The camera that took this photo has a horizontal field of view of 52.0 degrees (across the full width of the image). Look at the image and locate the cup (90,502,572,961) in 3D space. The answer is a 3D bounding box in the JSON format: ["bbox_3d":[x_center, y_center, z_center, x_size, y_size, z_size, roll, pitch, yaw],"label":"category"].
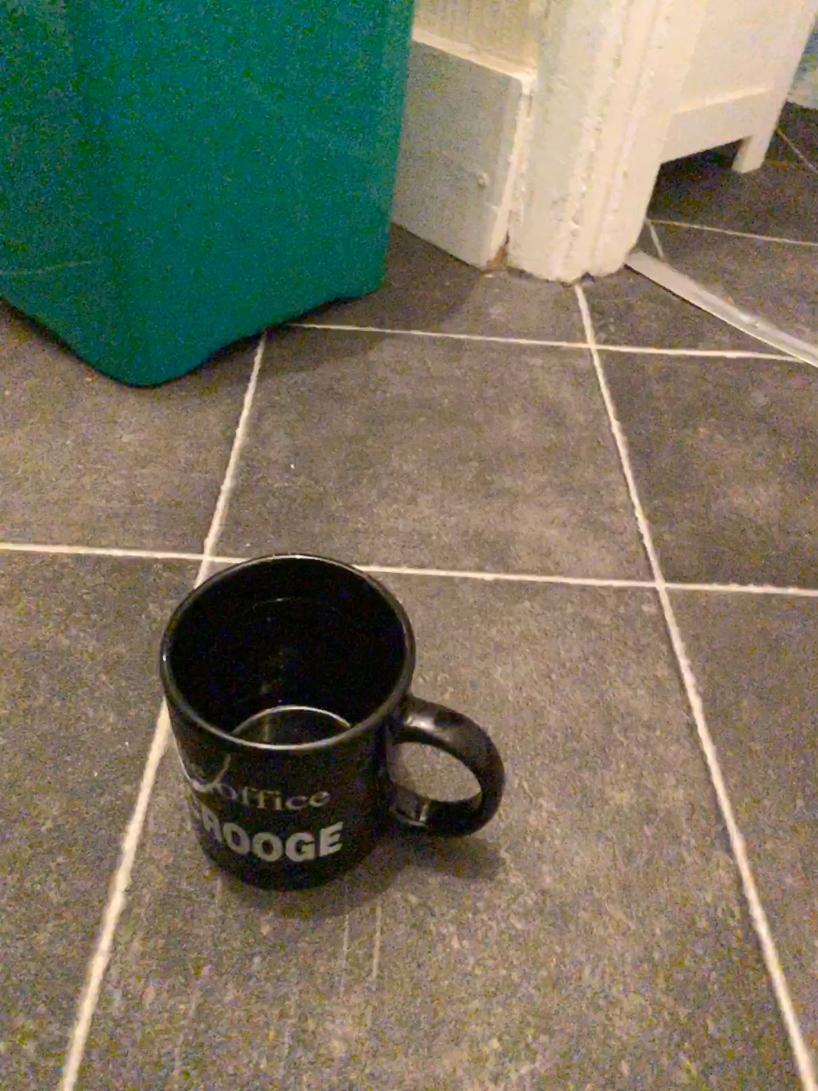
[{"bbox_3d":[-0.022,0.064,0.297,0.130,0.099,0.091,13,44,6],"label":"cup"}]
